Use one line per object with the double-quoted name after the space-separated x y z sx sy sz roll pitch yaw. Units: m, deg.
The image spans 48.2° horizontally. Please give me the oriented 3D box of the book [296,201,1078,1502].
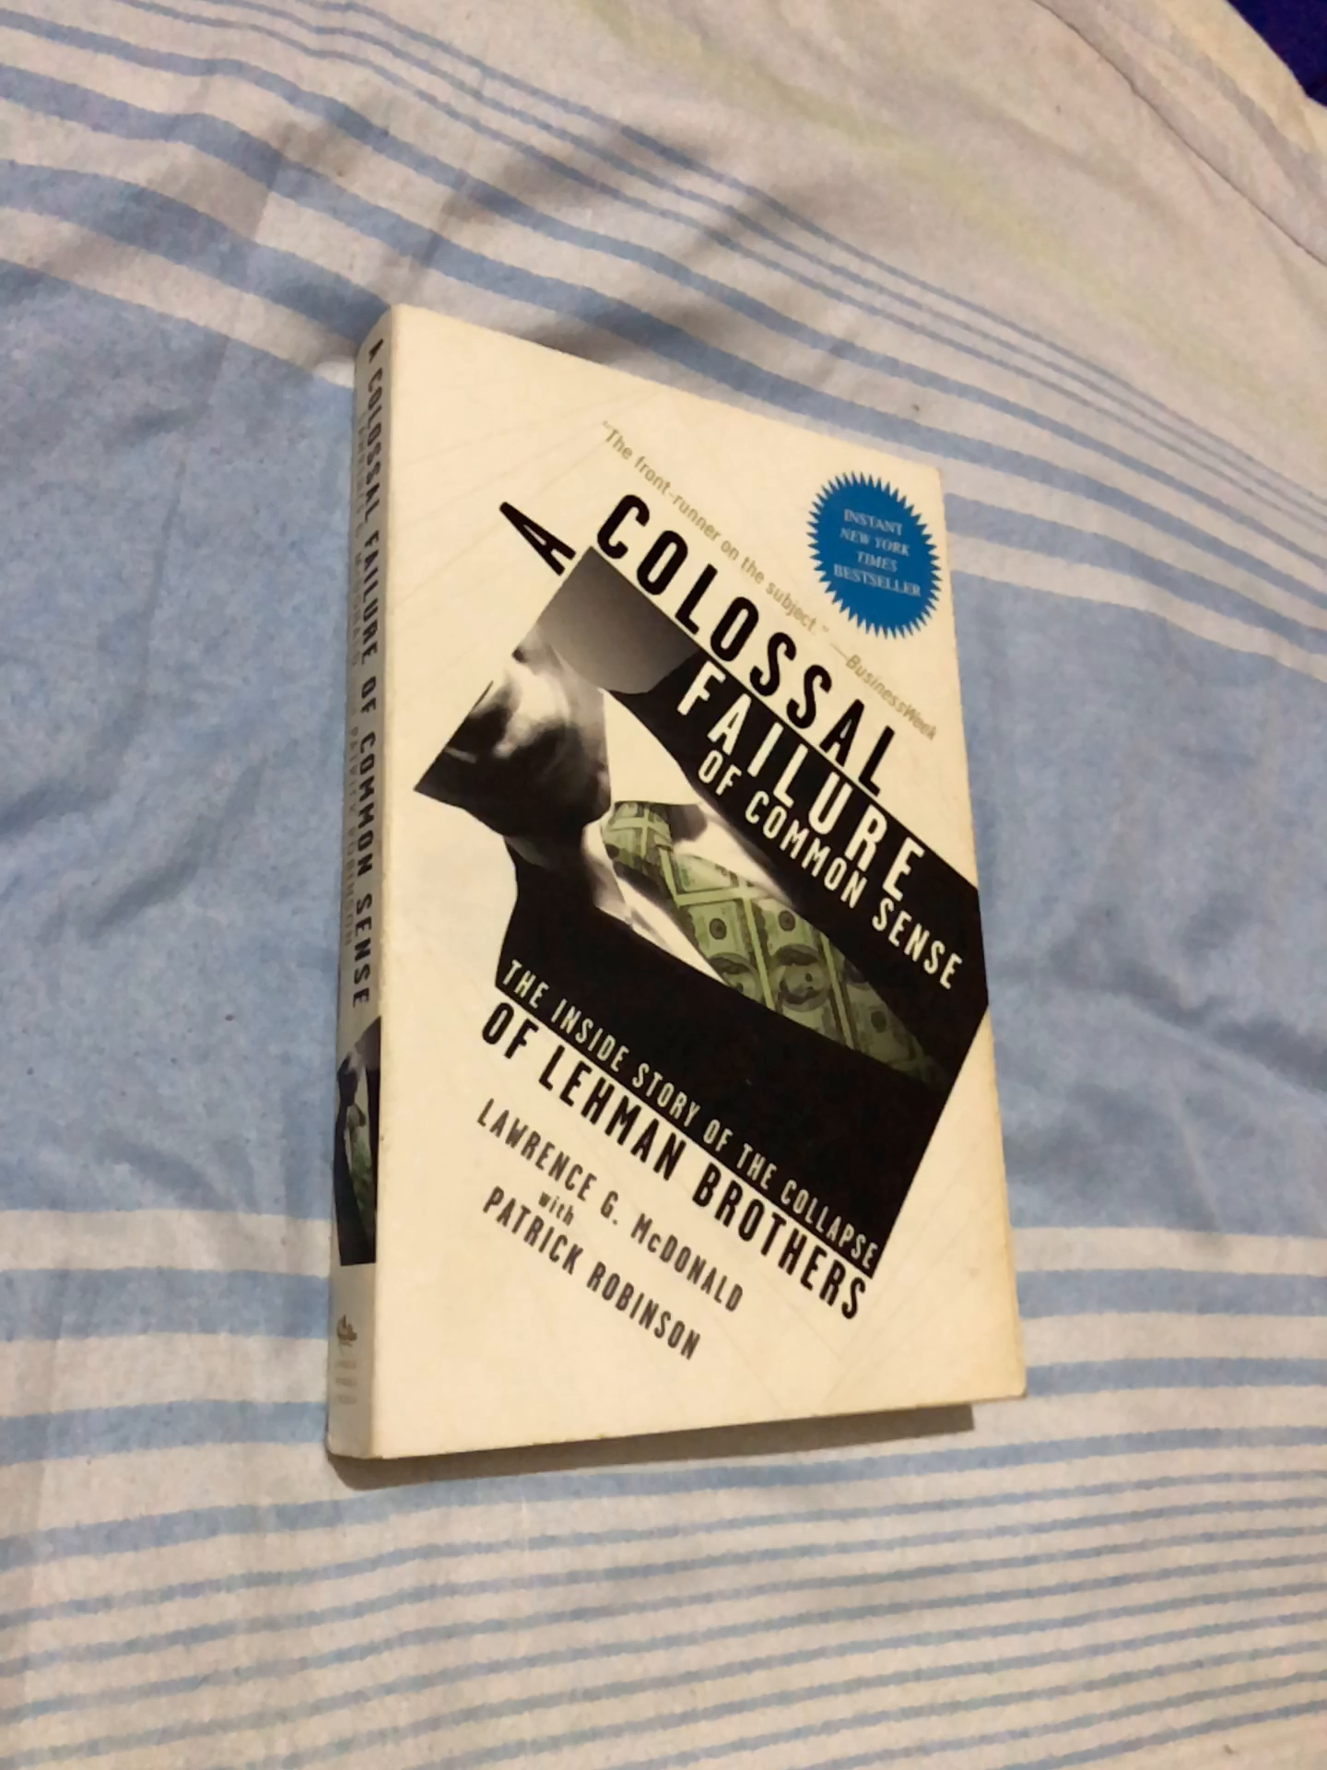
0.005 -0.006 0.293 0.141 0.040 0.220 7 72 -31 "book"
